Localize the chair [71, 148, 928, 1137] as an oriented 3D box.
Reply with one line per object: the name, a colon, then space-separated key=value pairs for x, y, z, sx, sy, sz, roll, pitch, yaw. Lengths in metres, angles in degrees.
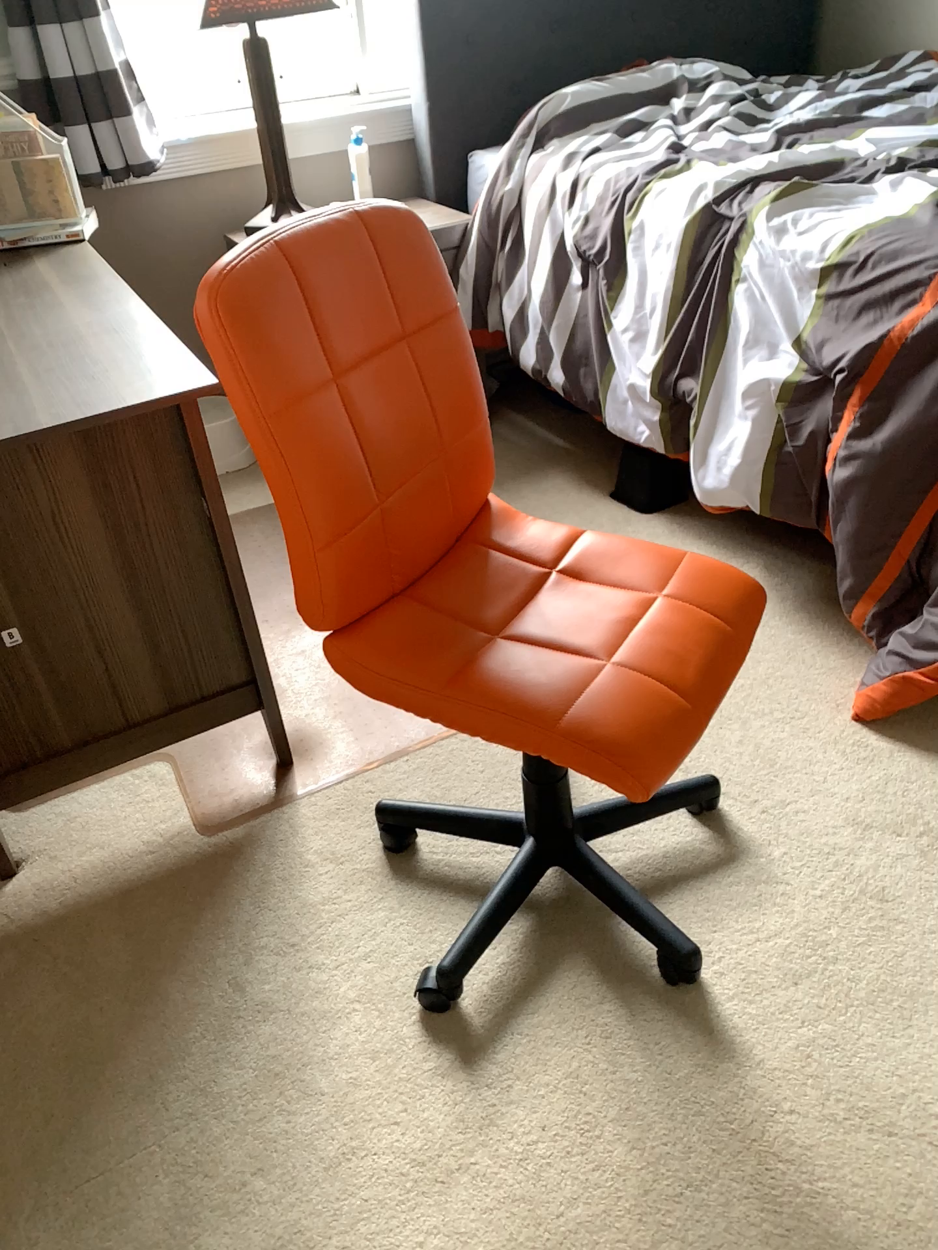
chair: x=0.083 y=-0.025 z=1.174 sx=0.599 sy=0.904 sz=0.596 roll=18 pitch=41 yaw=30
